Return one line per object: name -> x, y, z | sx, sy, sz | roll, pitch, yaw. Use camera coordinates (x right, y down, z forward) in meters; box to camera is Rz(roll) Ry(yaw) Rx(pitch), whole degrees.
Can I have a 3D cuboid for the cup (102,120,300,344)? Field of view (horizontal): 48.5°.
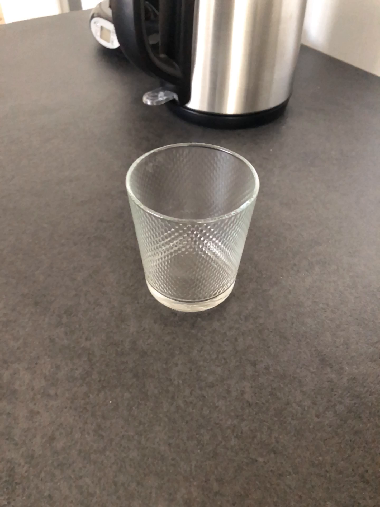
cup -> 0.007, -0.016, 0.268 | 0.080, 0.089, 0.080 | 1, 45, -1
